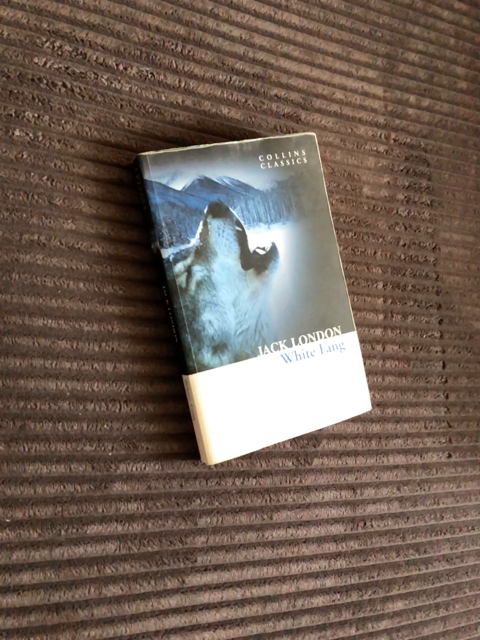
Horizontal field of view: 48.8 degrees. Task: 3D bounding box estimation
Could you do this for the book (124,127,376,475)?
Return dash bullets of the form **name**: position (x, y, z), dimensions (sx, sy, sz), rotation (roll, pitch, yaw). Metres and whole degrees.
- **book**: position (0.008, -0.015, 0.312), dimensions (0.114, 0.030, 0.178), rotation (-12, 94, -17)
